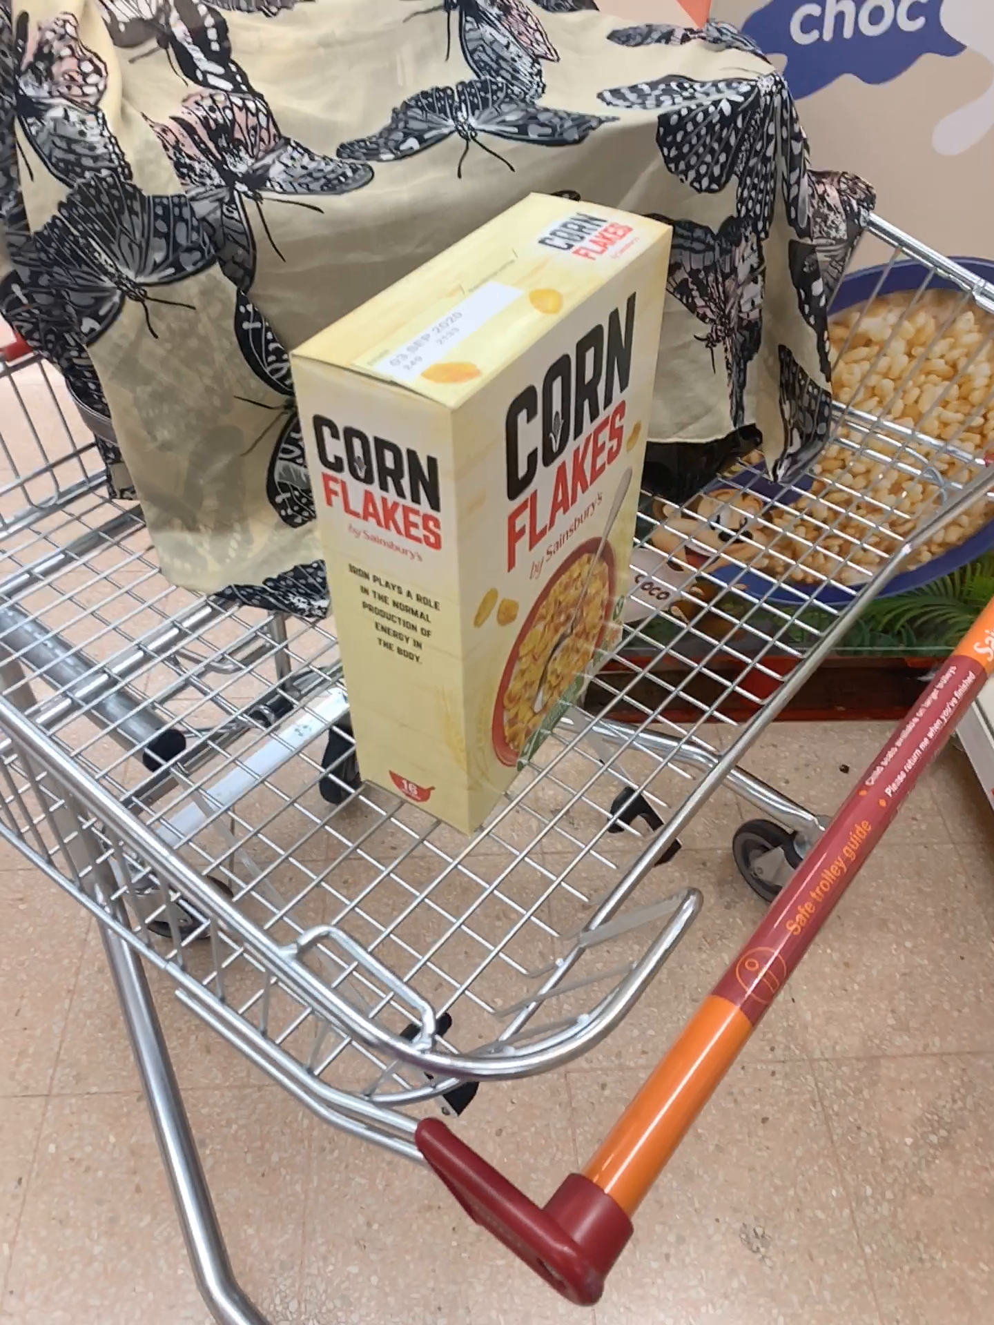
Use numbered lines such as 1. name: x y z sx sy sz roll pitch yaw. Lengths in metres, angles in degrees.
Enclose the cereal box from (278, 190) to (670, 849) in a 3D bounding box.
1. cereal box: -0.004 -0.067 0.534 0.080 0.277 0.191 24 49 20
